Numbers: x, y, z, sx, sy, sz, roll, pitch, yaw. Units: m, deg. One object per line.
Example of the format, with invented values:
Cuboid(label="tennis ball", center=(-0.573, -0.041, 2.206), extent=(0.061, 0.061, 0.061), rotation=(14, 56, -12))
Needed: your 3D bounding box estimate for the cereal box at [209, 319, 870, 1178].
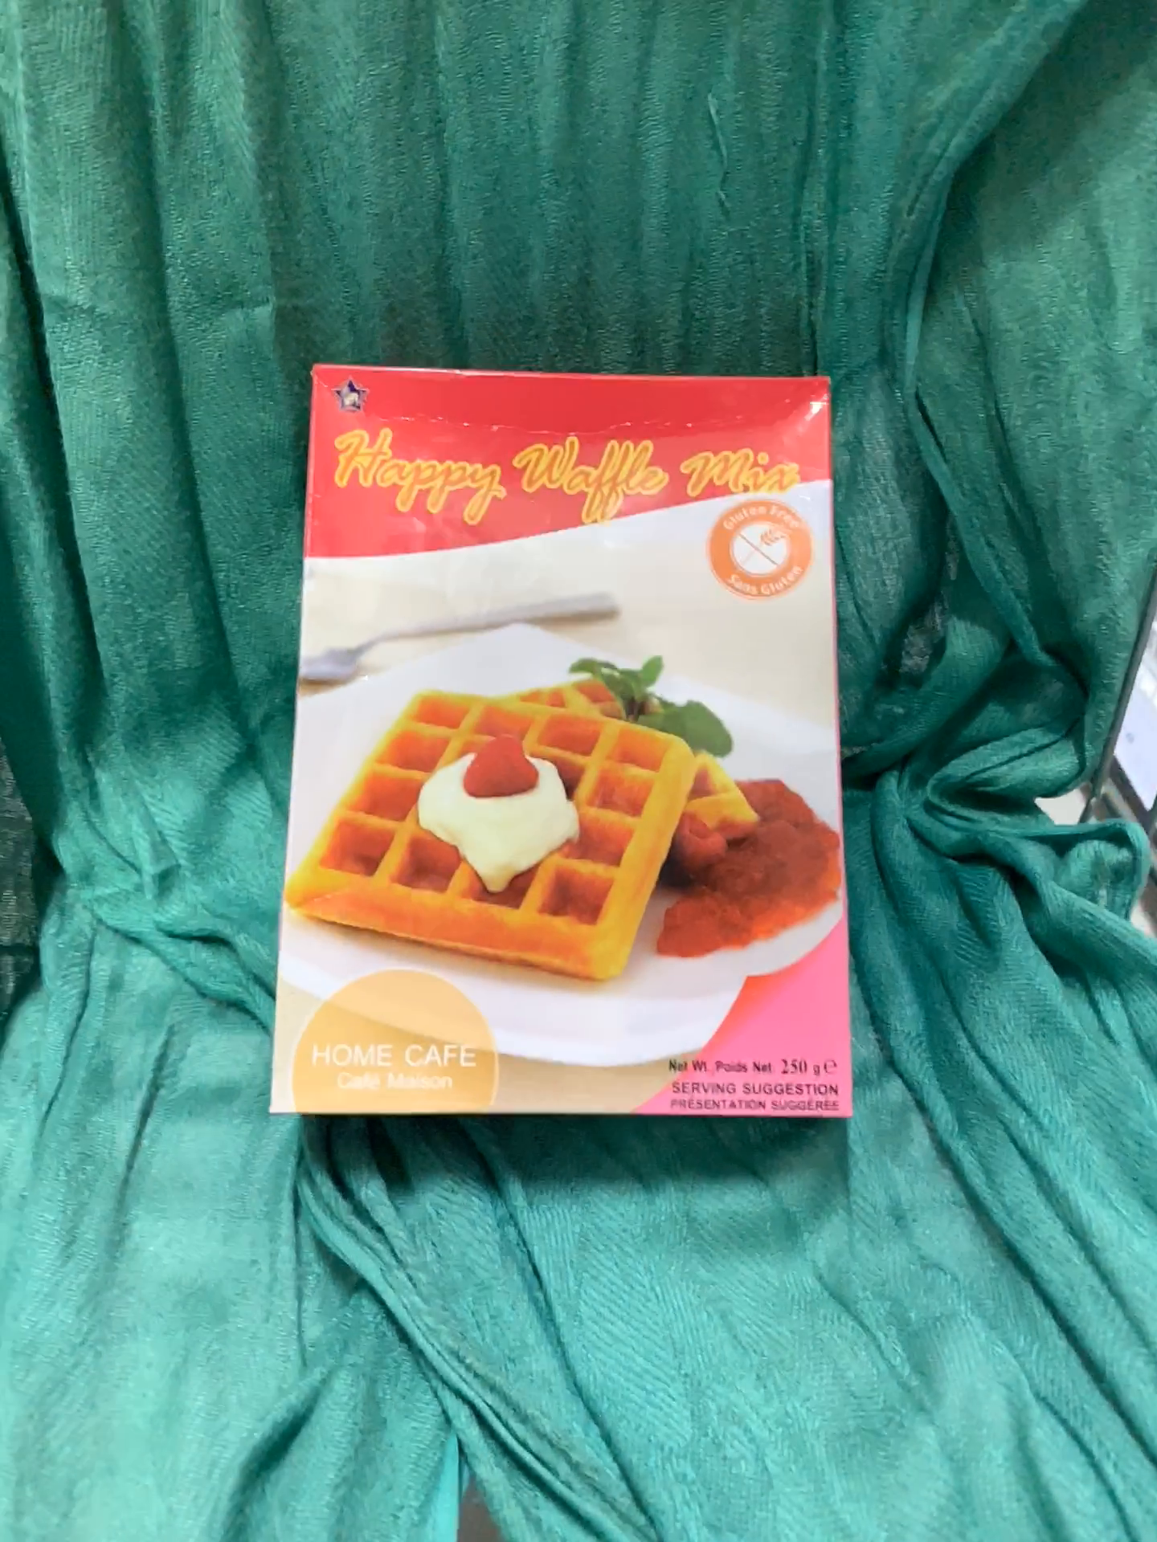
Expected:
Cuboid(label="cereal box", center=(-0.007, -0.006, 0.273), extent=(0.130, 0.180, 0.050), rotation=(1, -9, 0))
